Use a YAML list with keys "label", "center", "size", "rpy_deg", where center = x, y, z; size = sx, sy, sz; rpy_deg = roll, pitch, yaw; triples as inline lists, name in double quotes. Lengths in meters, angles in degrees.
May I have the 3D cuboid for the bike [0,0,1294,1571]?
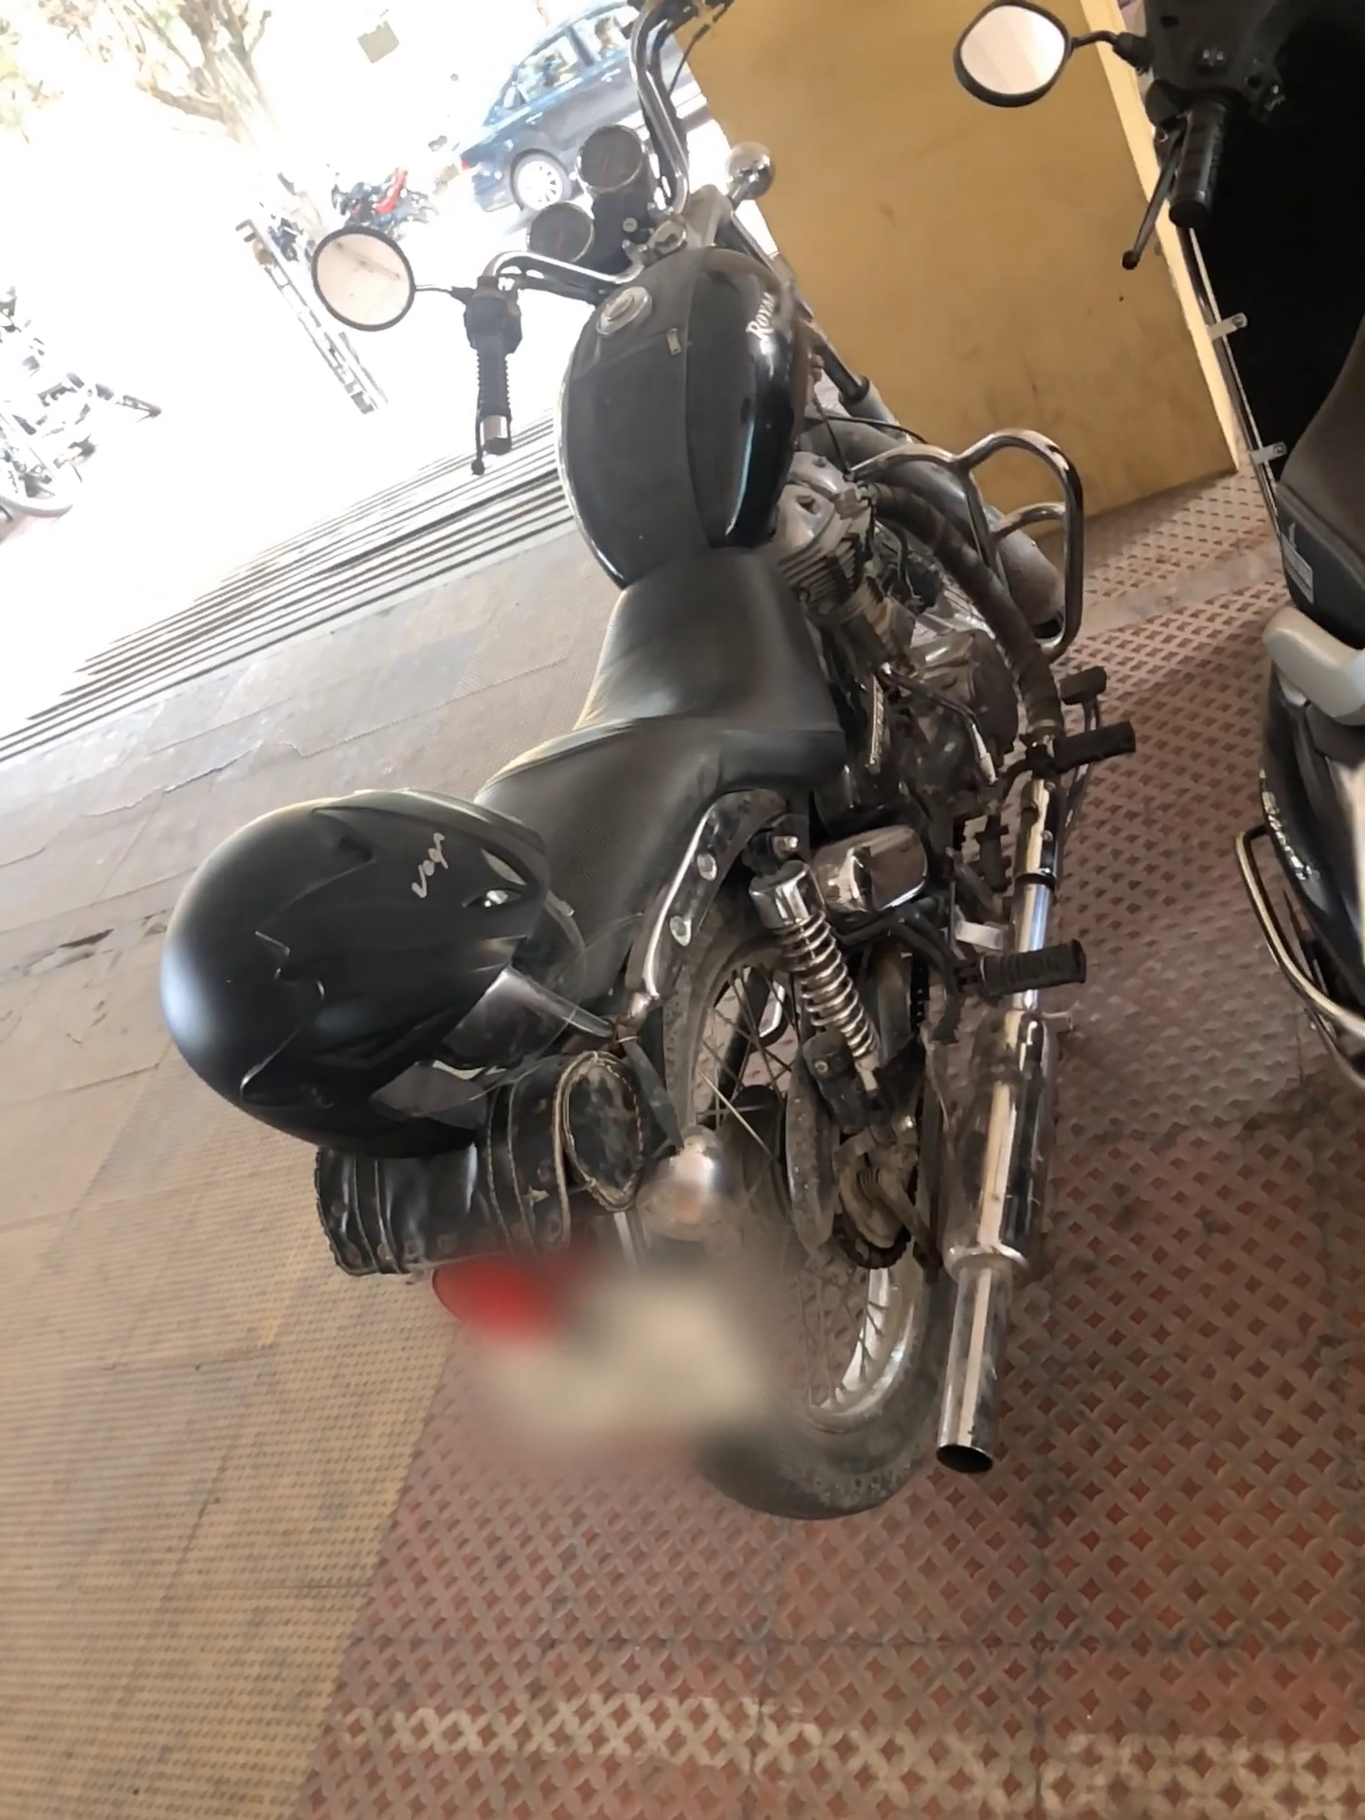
- label: "bike"
  center: [-0.038, -0.365, 1.865]
  size: [0.783, 1.178, 1.819]
  rpy_deg: [-20, 39, 23]
